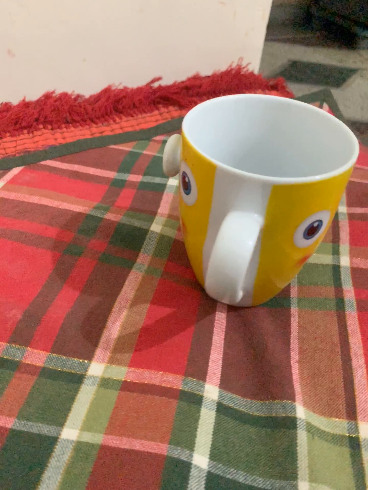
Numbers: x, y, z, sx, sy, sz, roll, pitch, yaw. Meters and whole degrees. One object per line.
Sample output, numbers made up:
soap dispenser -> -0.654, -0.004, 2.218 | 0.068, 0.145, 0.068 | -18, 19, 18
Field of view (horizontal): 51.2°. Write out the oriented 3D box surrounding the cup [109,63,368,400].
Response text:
cup -> 0.032, -0.016, 0.177 | 0.080, 0.080, 0.120 | 17, 45, 11
